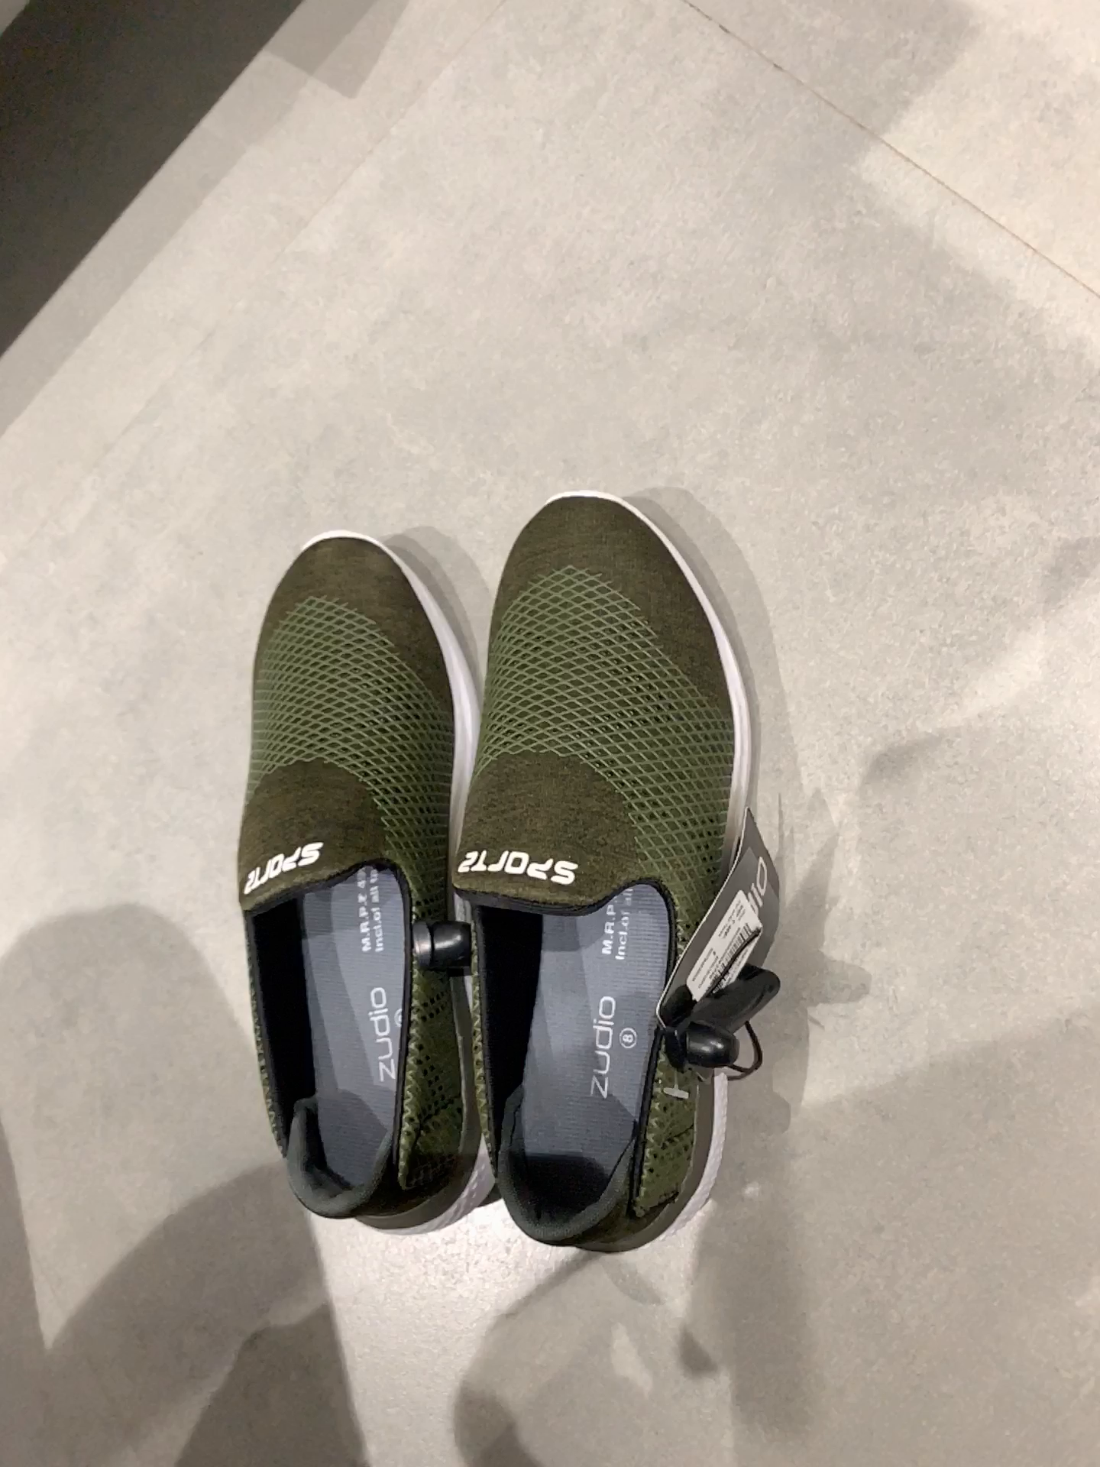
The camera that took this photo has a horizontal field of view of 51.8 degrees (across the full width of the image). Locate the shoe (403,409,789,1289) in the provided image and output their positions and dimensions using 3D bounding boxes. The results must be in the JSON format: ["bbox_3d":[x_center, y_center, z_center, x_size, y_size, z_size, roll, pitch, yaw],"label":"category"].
[{"bbox_3d":[0.018,0.040,0.424,0.100,0.100,0.280,-7,79,20],"label":"shoe"}]

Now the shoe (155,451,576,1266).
[{"bbox_3d":[-0.074,0.048,0.456,0.100,0.100,0.280,-13,77,19],"label":"shoe"}]
